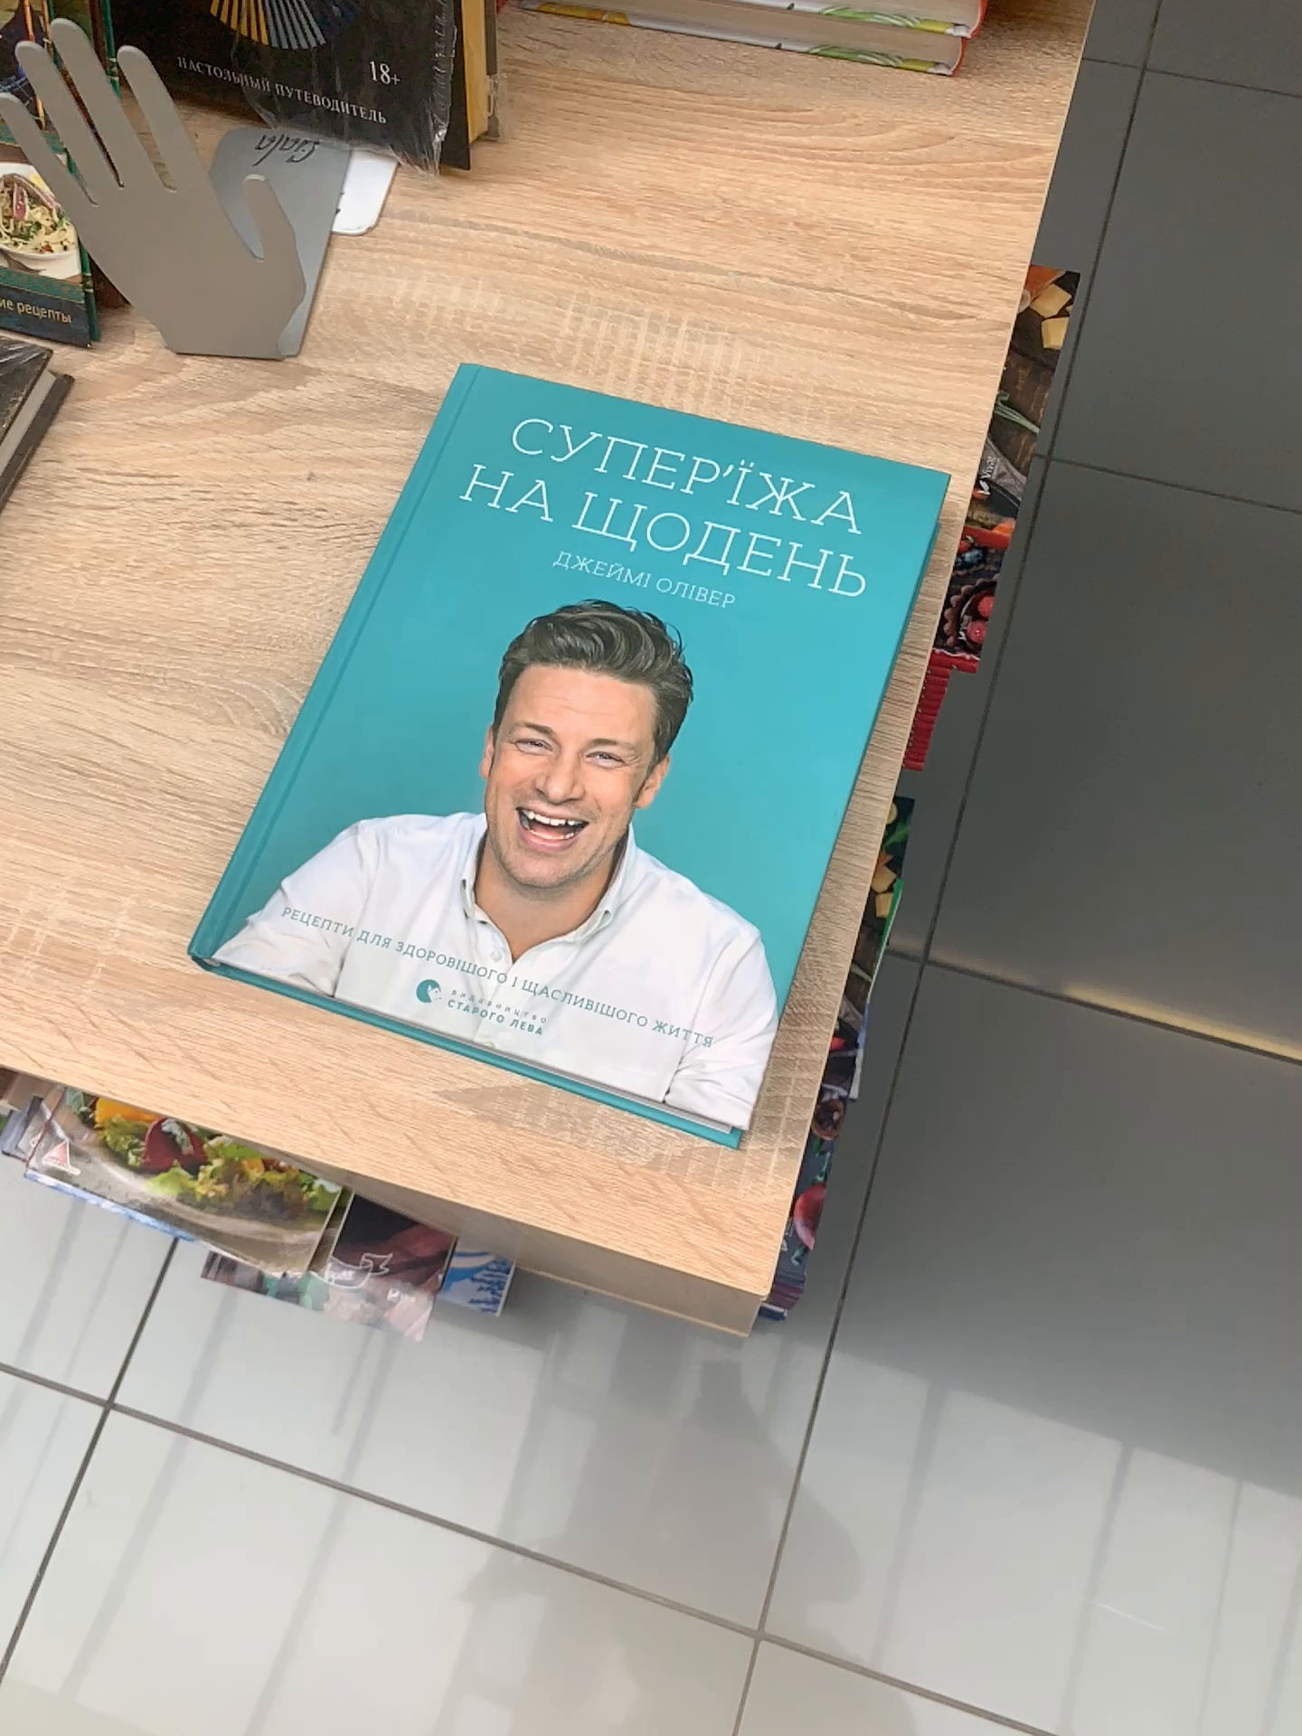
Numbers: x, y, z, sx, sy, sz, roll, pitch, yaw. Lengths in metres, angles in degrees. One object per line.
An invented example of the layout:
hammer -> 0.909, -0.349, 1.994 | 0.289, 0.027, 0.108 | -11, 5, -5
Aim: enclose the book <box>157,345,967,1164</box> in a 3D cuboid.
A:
book -> -0.023, -0.054, 0.467 | 0.200, 0.030, 0.255 | 17, 71, 11
